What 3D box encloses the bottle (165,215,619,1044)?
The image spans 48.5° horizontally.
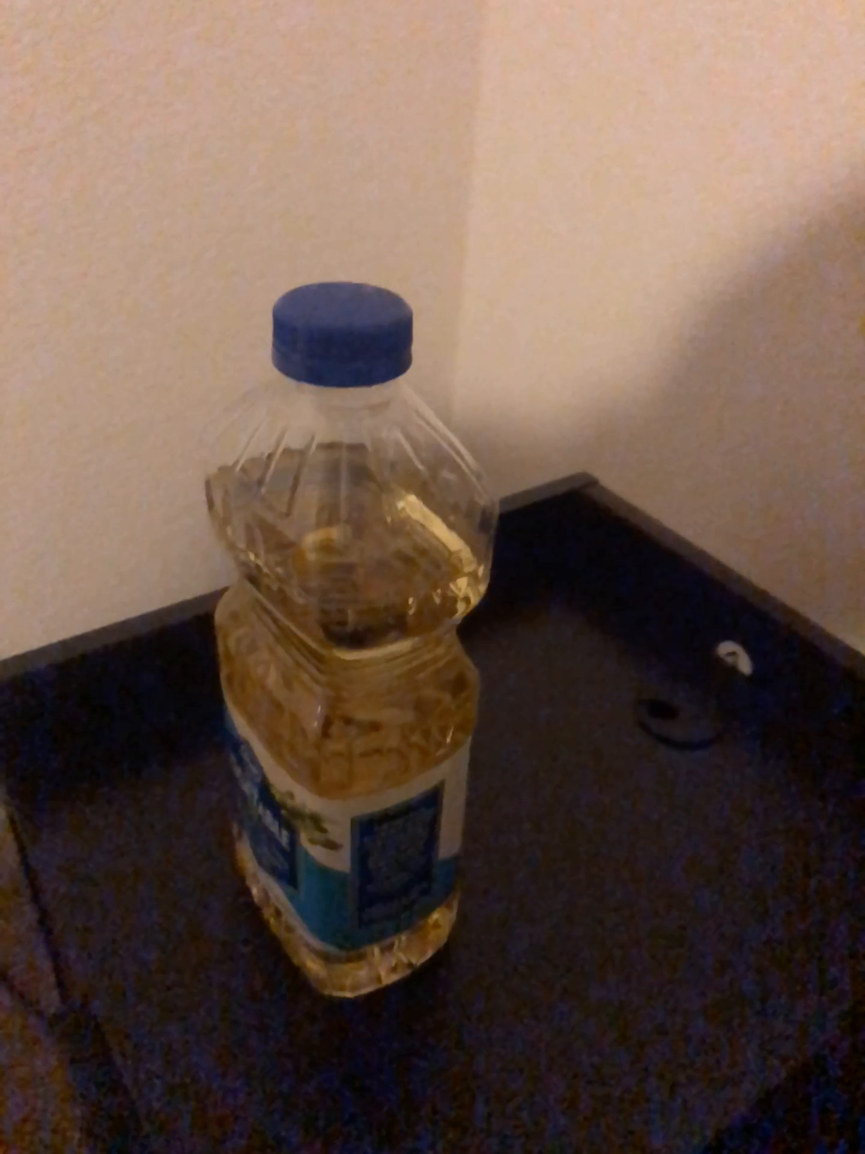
[{"bbox_3d":[-0.023,0.028,0.352,0.084,0.275,0.110,-19,40,-29],"label":"bottle"}]
